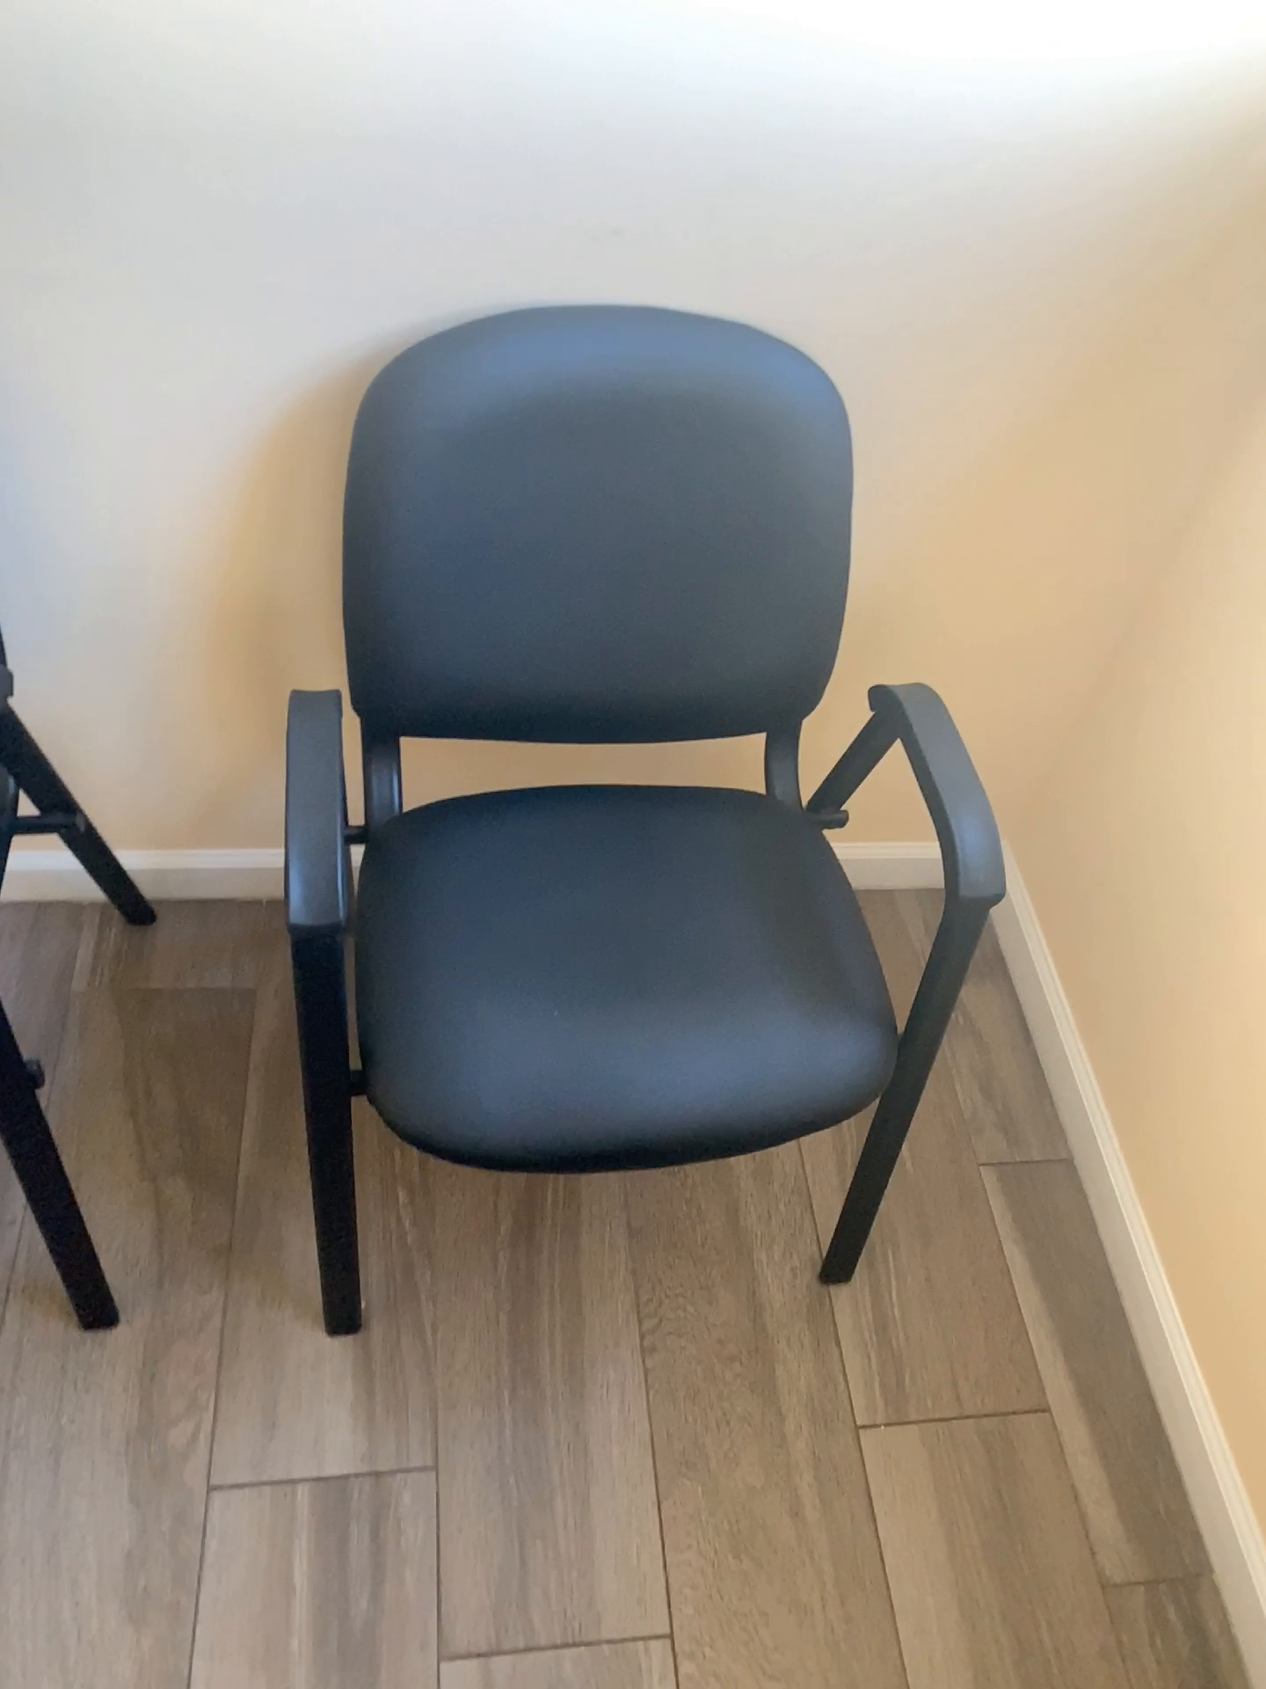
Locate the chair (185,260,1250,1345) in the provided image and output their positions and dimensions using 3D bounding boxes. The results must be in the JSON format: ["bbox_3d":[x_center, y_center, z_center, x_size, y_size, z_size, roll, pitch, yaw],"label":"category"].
[{"bbox_3d":[-0.023,0.012,1.245,0.635,0.848,0.591,-2,51,-11],"label":"chair"}]
